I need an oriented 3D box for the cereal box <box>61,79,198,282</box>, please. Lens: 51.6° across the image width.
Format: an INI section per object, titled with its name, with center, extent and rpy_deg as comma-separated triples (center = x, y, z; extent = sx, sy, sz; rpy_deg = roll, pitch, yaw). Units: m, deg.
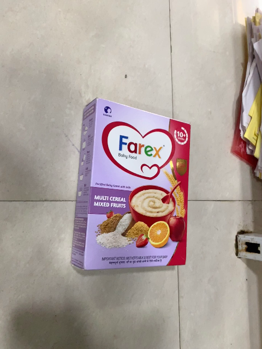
[cereal box]
center = 0.005, 0.013, 0.342
extent = 0.151, 0.060, 0.210
rpy_deg = 8, 81, -31
